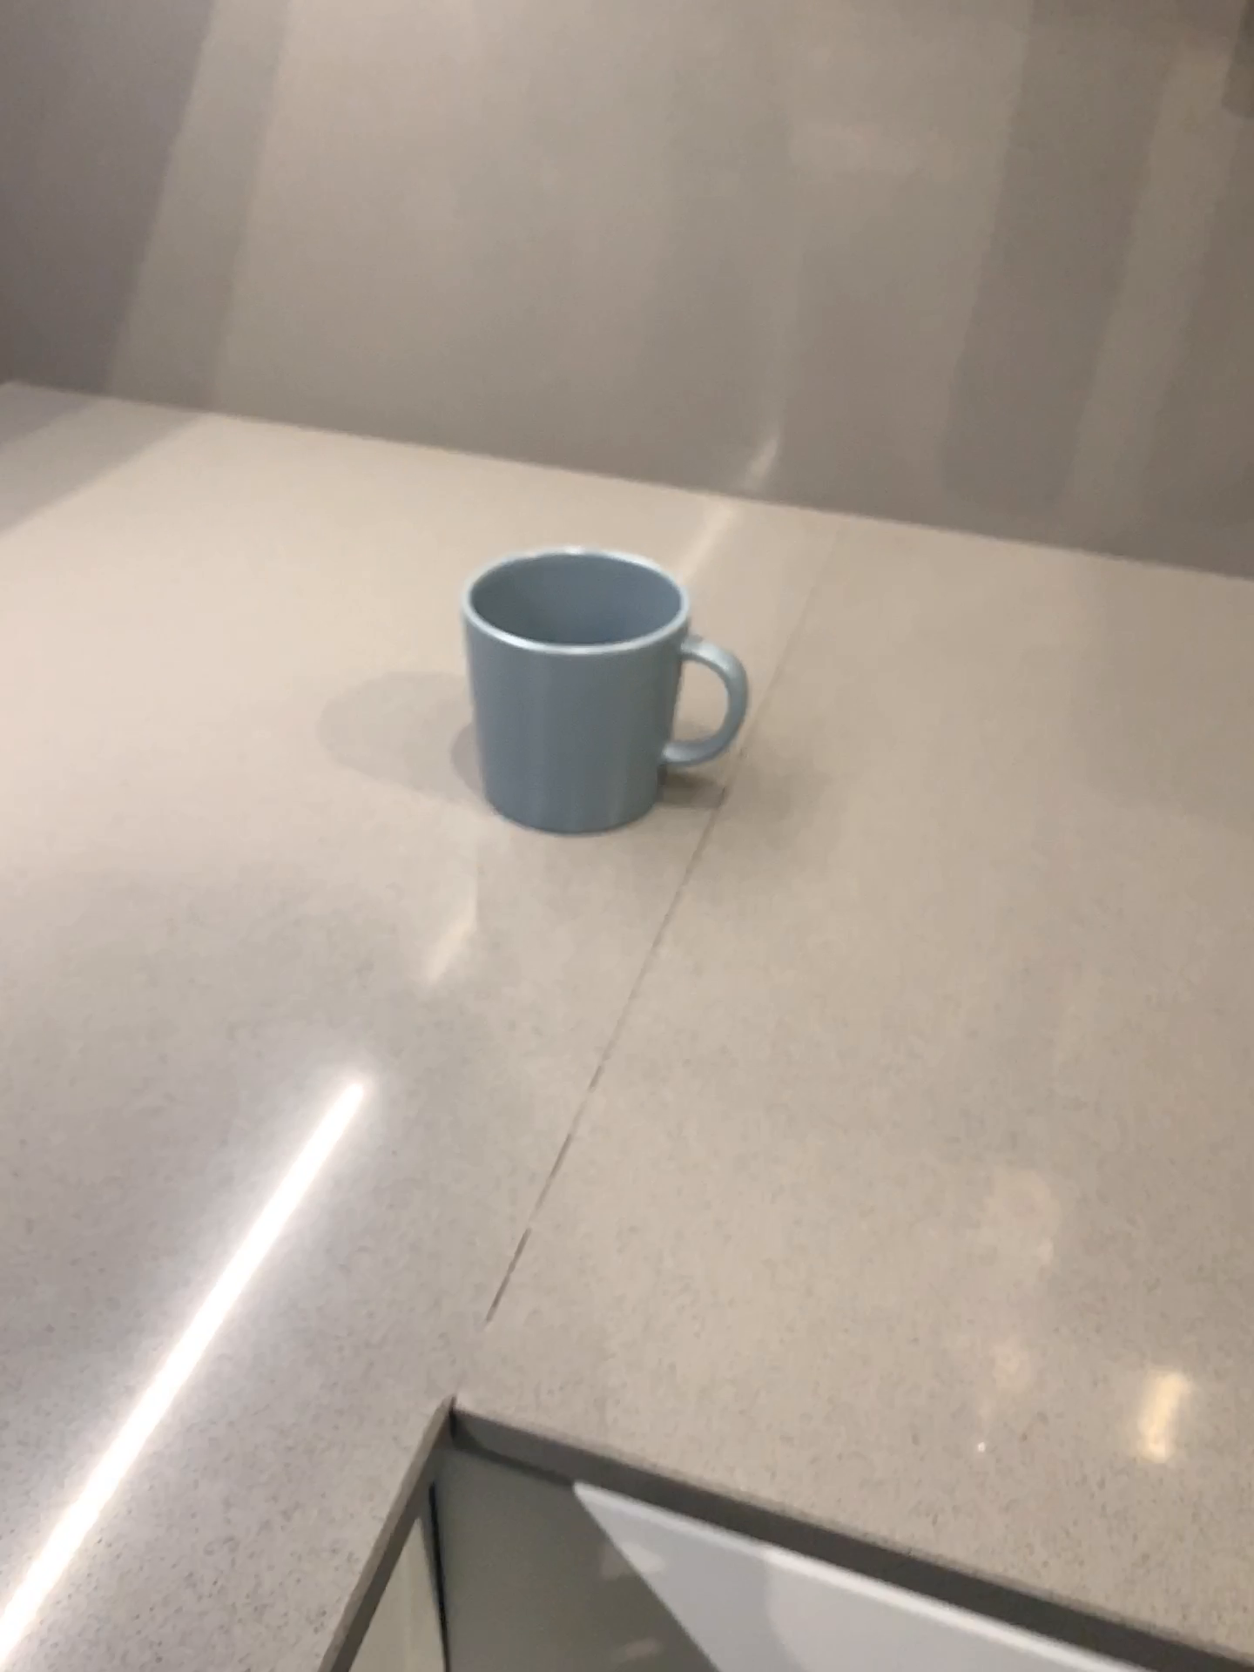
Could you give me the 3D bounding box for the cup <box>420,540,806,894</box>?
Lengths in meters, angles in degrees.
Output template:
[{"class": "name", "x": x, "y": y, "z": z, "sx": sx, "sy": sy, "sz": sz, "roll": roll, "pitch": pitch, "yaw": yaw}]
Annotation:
[{"class": "cup", "x": -0.004, "y": -0.052, "z": 0.537, "sx": 0.130, "sy": 0.090, "sz": 0.090, "roll": 12, "pitch": 37, "yaw": 12}]
